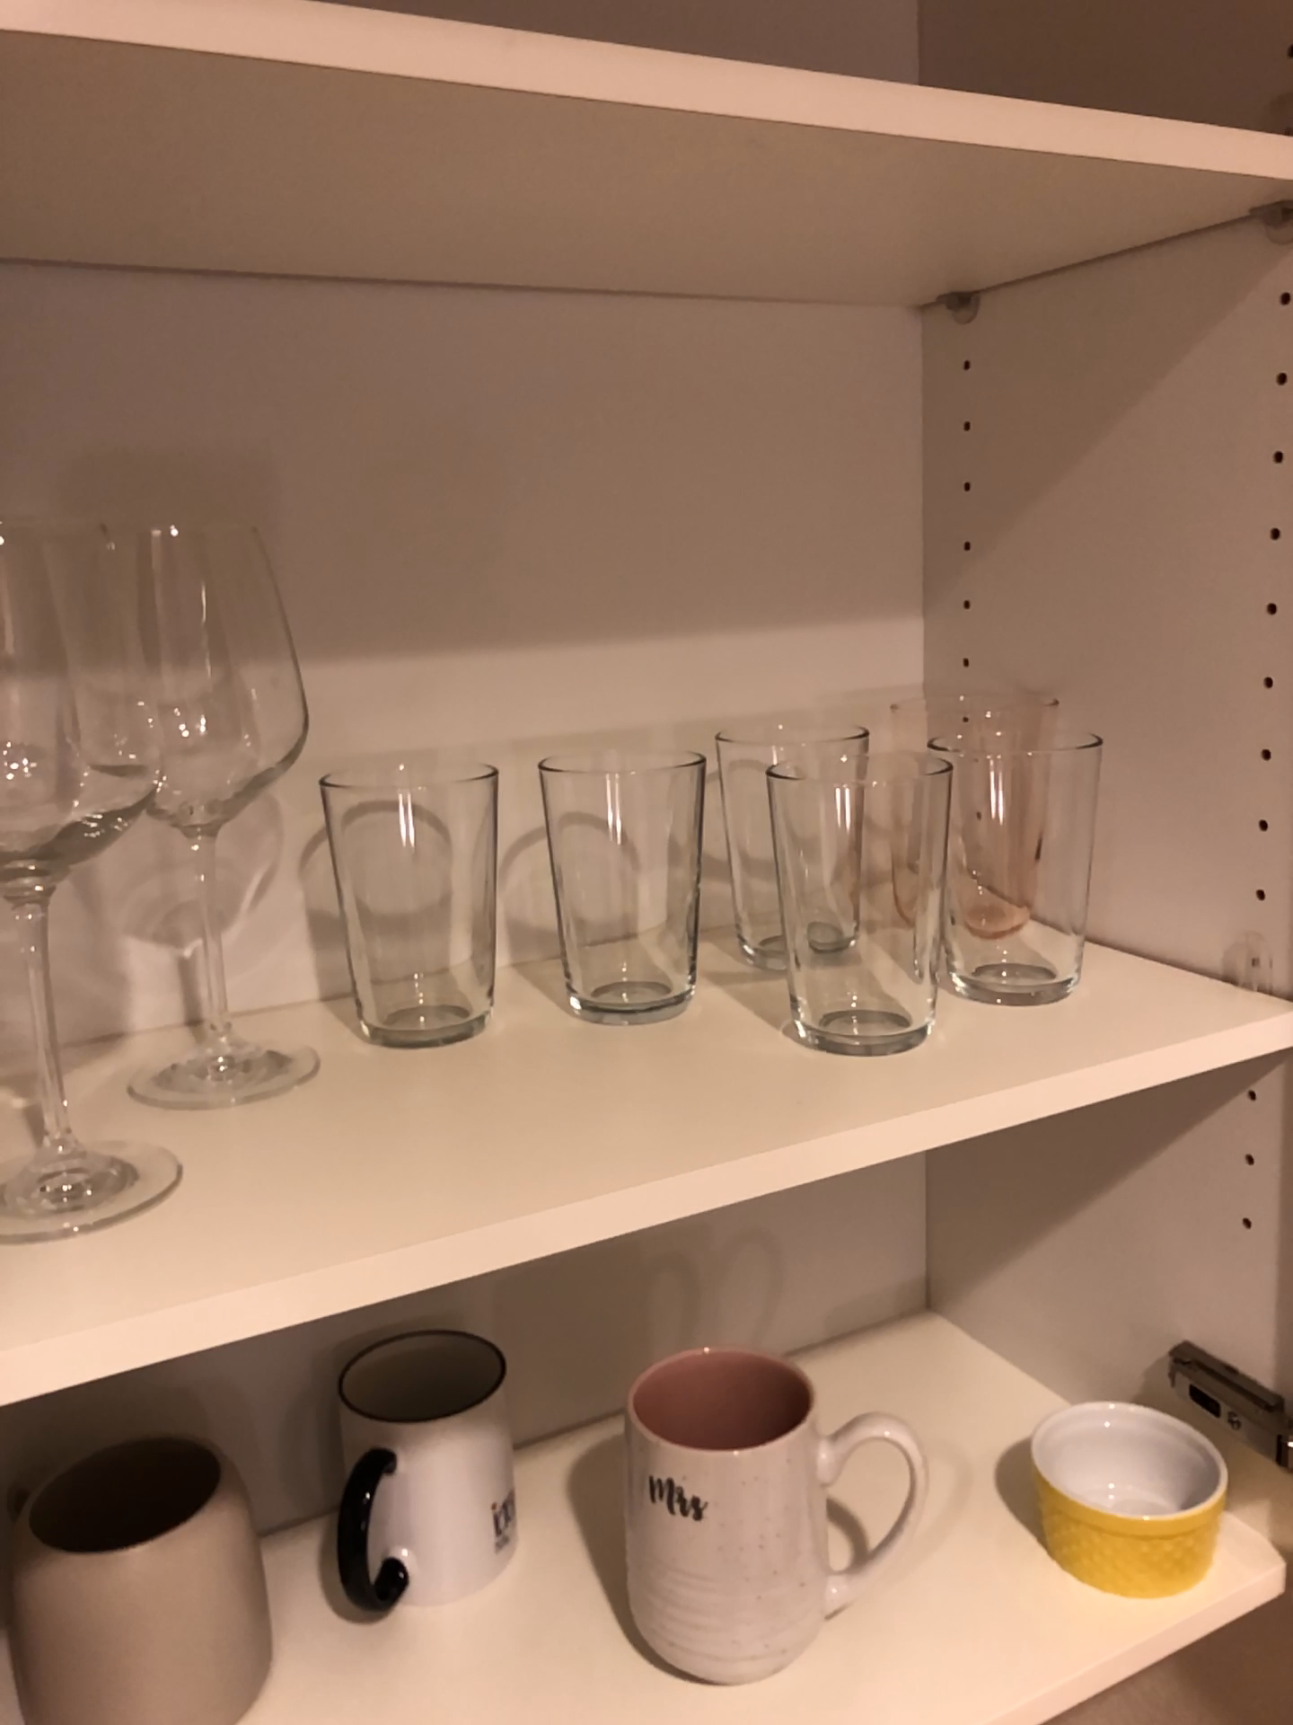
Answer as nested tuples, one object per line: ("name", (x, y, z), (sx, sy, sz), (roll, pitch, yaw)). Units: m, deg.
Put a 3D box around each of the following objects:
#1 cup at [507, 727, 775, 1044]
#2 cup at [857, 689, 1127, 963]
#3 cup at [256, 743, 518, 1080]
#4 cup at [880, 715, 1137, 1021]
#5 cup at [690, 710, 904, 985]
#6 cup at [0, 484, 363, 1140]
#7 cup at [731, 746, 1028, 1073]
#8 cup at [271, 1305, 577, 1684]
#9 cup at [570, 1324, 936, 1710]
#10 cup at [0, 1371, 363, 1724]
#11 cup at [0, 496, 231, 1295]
("cup", (-0.003, 0.005, 0.650), (0.080, 0.120, 0.090), (-10, 13, -32))
("cup", (0.178, -0.024, 0.745), (0.090, 0.120, 0.100), (-9, 13, -30))
("cup", (-0.120, 0.017, 0.659), (0.080, 0.130, 0.090), (-10, 13, -32))
("cup", (0.166, -0.002, 0.661), (0.080, 0.120, 0.080), (-2, 11, 0))
("cup", (0.076, -0.012, 0.724), (0.070, 0.120, 0.080), (-10, 13, -32))
("cup", (-0.204, -0.028, 0.627), (0.110, 0.259, 0.090), (-10, 13, -32))
("cup", (0.096, 0.014, 0.596), (0.080, 0.110, 0.090), (-10, 13, -32))
("cup", (-0.098, 0.288, 0.673), (0.090, 0.090, 0.140), (0, 12, 13))
("cup", (0.048, 0.271, 0.606), (0.140, 0.110, 0.090), (-1, 11, 8))
("cup", (-0.212, 0.303, 0.605), (0.140, 0.090, 0.110), (6, 14, 38))
("cup", (-0.227, 0.003, 0.506), (0.110, 0.249, 0.090), (-10, 13, -32))
